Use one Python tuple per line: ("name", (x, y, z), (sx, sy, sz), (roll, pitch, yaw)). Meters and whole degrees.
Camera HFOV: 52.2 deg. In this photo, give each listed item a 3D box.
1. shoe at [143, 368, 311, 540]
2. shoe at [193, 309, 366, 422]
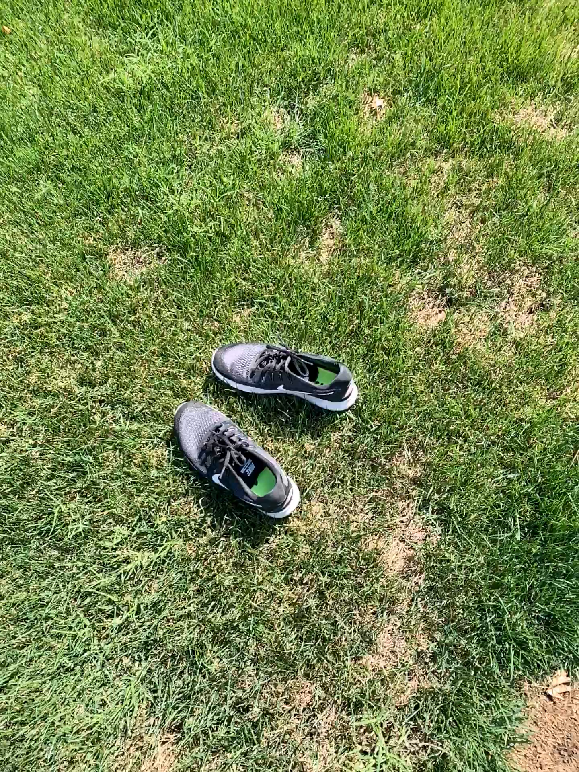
("shoe", (-0.101, 0.117, 0.996), (0.280, 0.130, 0.100), (42, 77, 16))
("shoe", (-0.015, -0.034, 1.044), (0.270, 0.130, 0.100), (14, 71, 7))
